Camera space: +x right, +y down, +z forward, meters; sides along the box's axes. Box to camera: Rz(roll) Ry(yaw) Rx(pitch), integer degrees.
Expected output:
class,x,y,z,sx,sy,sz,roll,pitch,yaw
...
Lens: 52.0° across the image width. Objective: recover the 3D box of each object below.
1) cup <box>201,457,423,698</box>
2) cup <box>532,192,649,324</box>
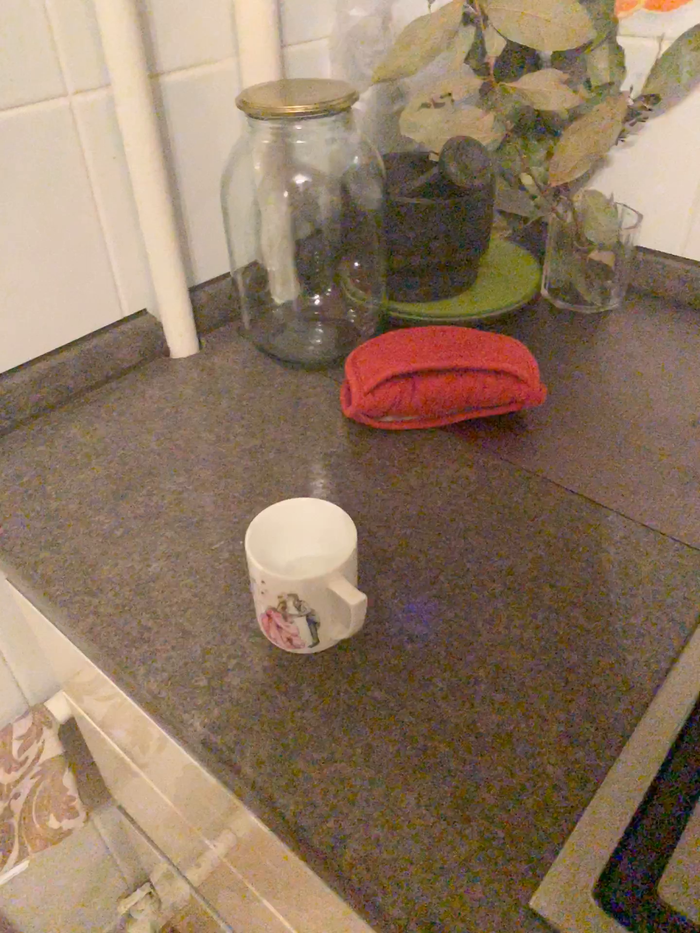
class,x,y,z,sx,sy,sz,roll,pitch,yaw
cup,-0.019,0.053,0.366,0.089,0.061,0.064,30,49,34
cup,0.217,-0.190,0.652,0.079,0.091,0.055,15,42,20
